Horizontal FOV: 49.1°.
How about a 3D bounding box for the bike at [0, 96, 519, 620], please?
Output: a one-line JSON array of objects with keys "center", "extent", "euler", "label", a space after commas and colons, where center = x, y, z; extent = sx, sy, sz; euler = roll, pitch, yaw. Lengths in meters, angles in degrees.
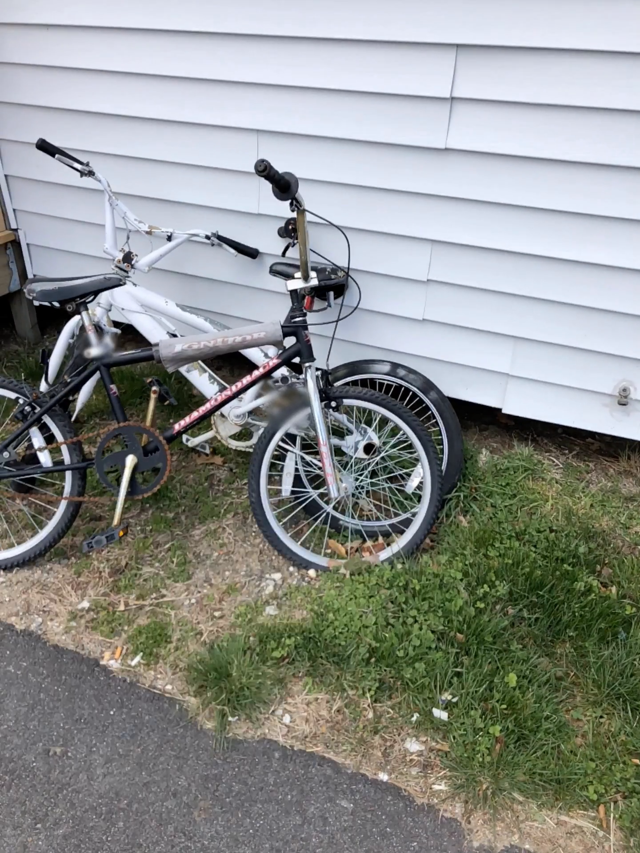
[{"center": [-0.354, -0.200, 1.682], "extent": [1.295, 0.932, 0.761], "euler": [-3, 33, -3], "label": "bike"}]
